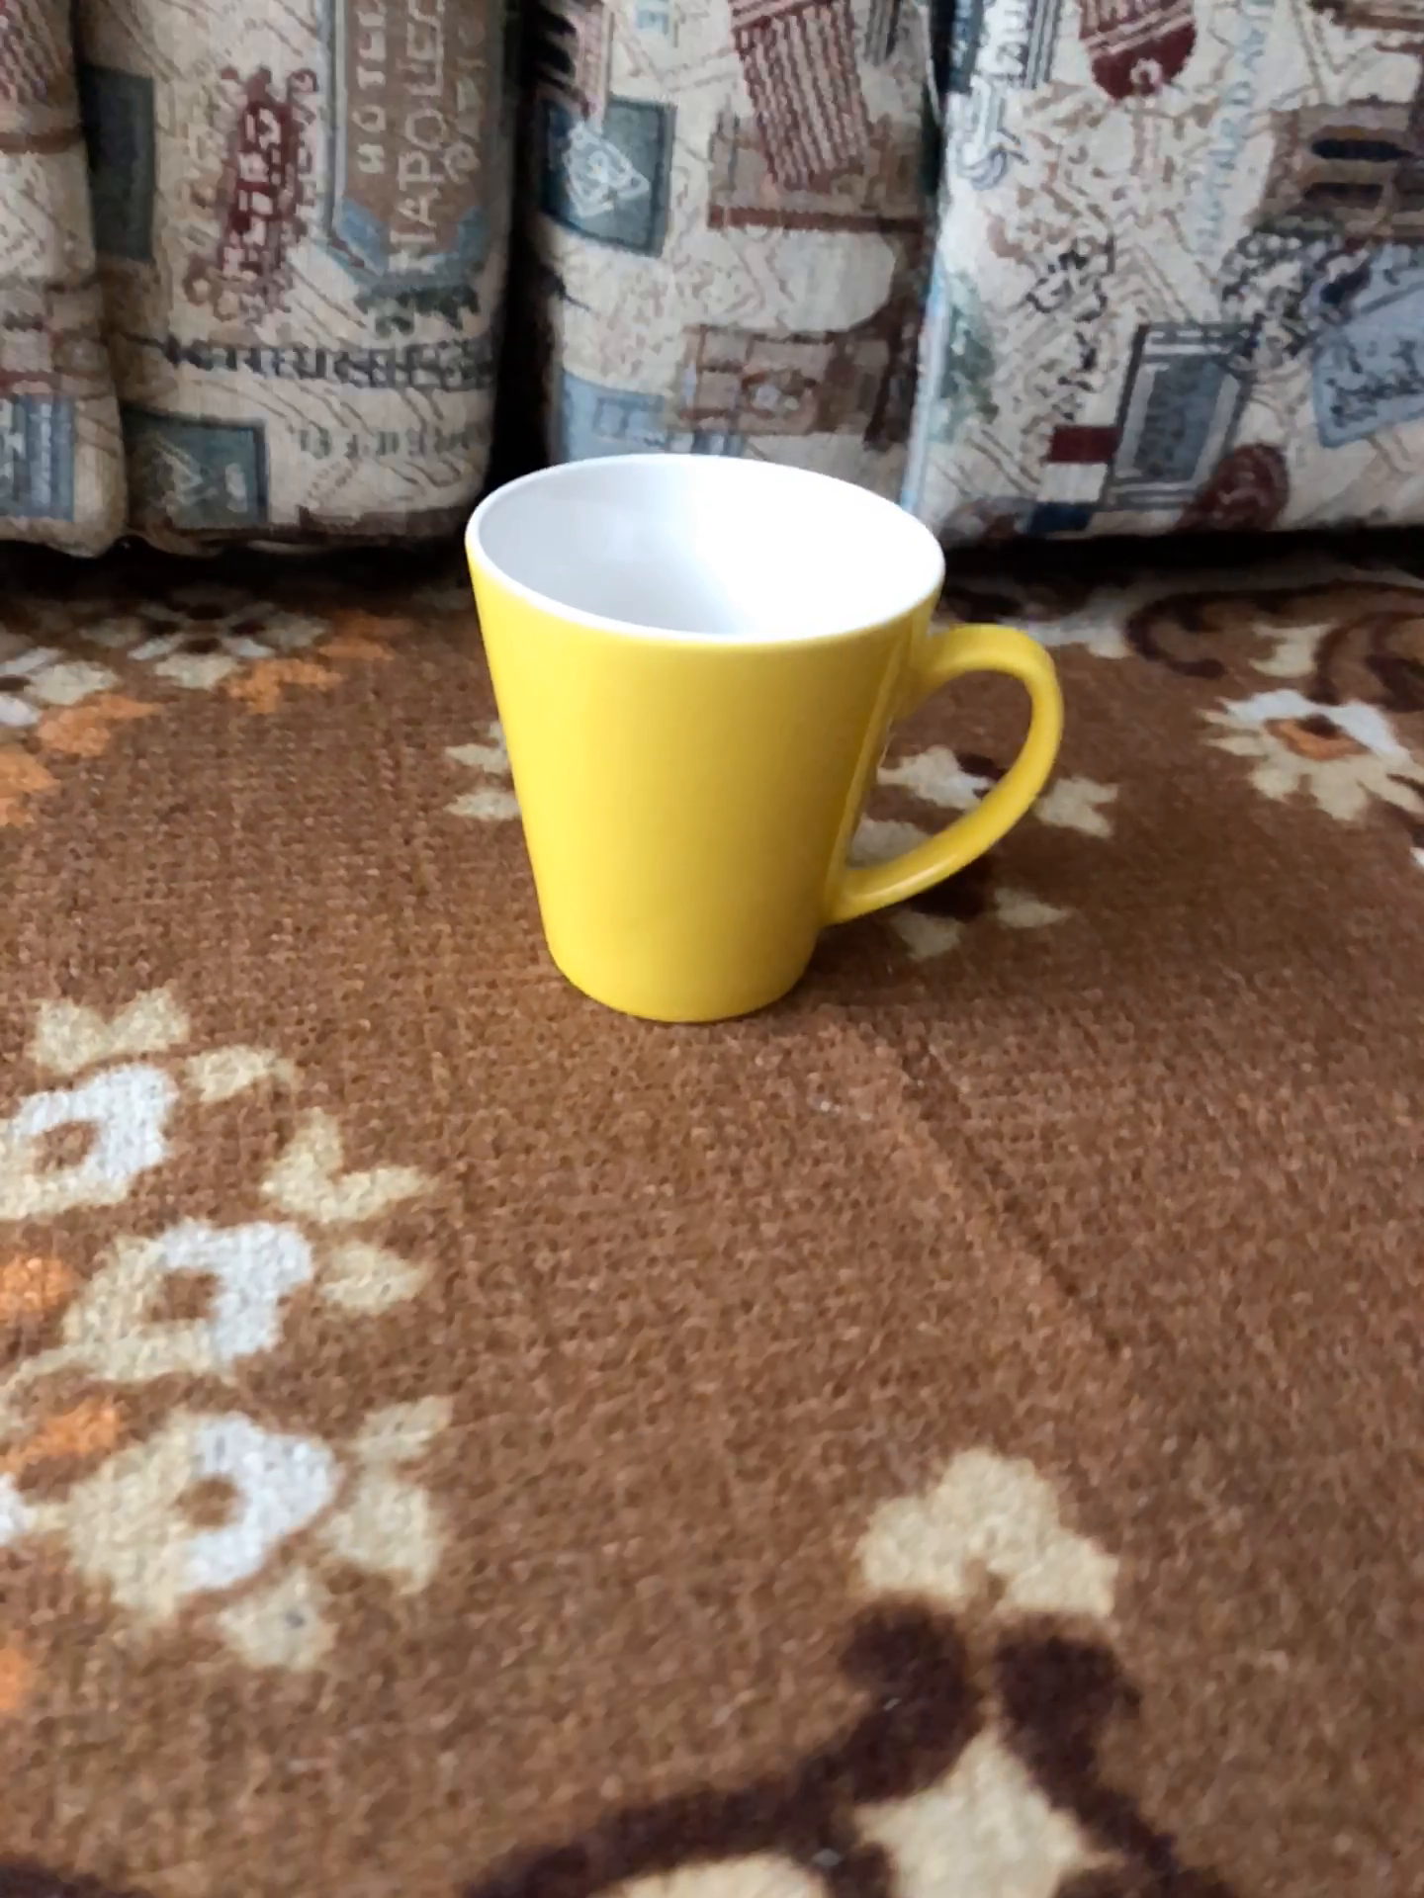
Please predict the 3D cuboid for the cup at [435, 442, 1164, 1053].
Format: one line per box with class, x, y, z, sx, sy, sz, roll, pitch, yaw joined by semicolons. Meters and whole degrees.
cup;0.008;-0.047;0.330;0.125;0.088;0.098;-3;35;-10
